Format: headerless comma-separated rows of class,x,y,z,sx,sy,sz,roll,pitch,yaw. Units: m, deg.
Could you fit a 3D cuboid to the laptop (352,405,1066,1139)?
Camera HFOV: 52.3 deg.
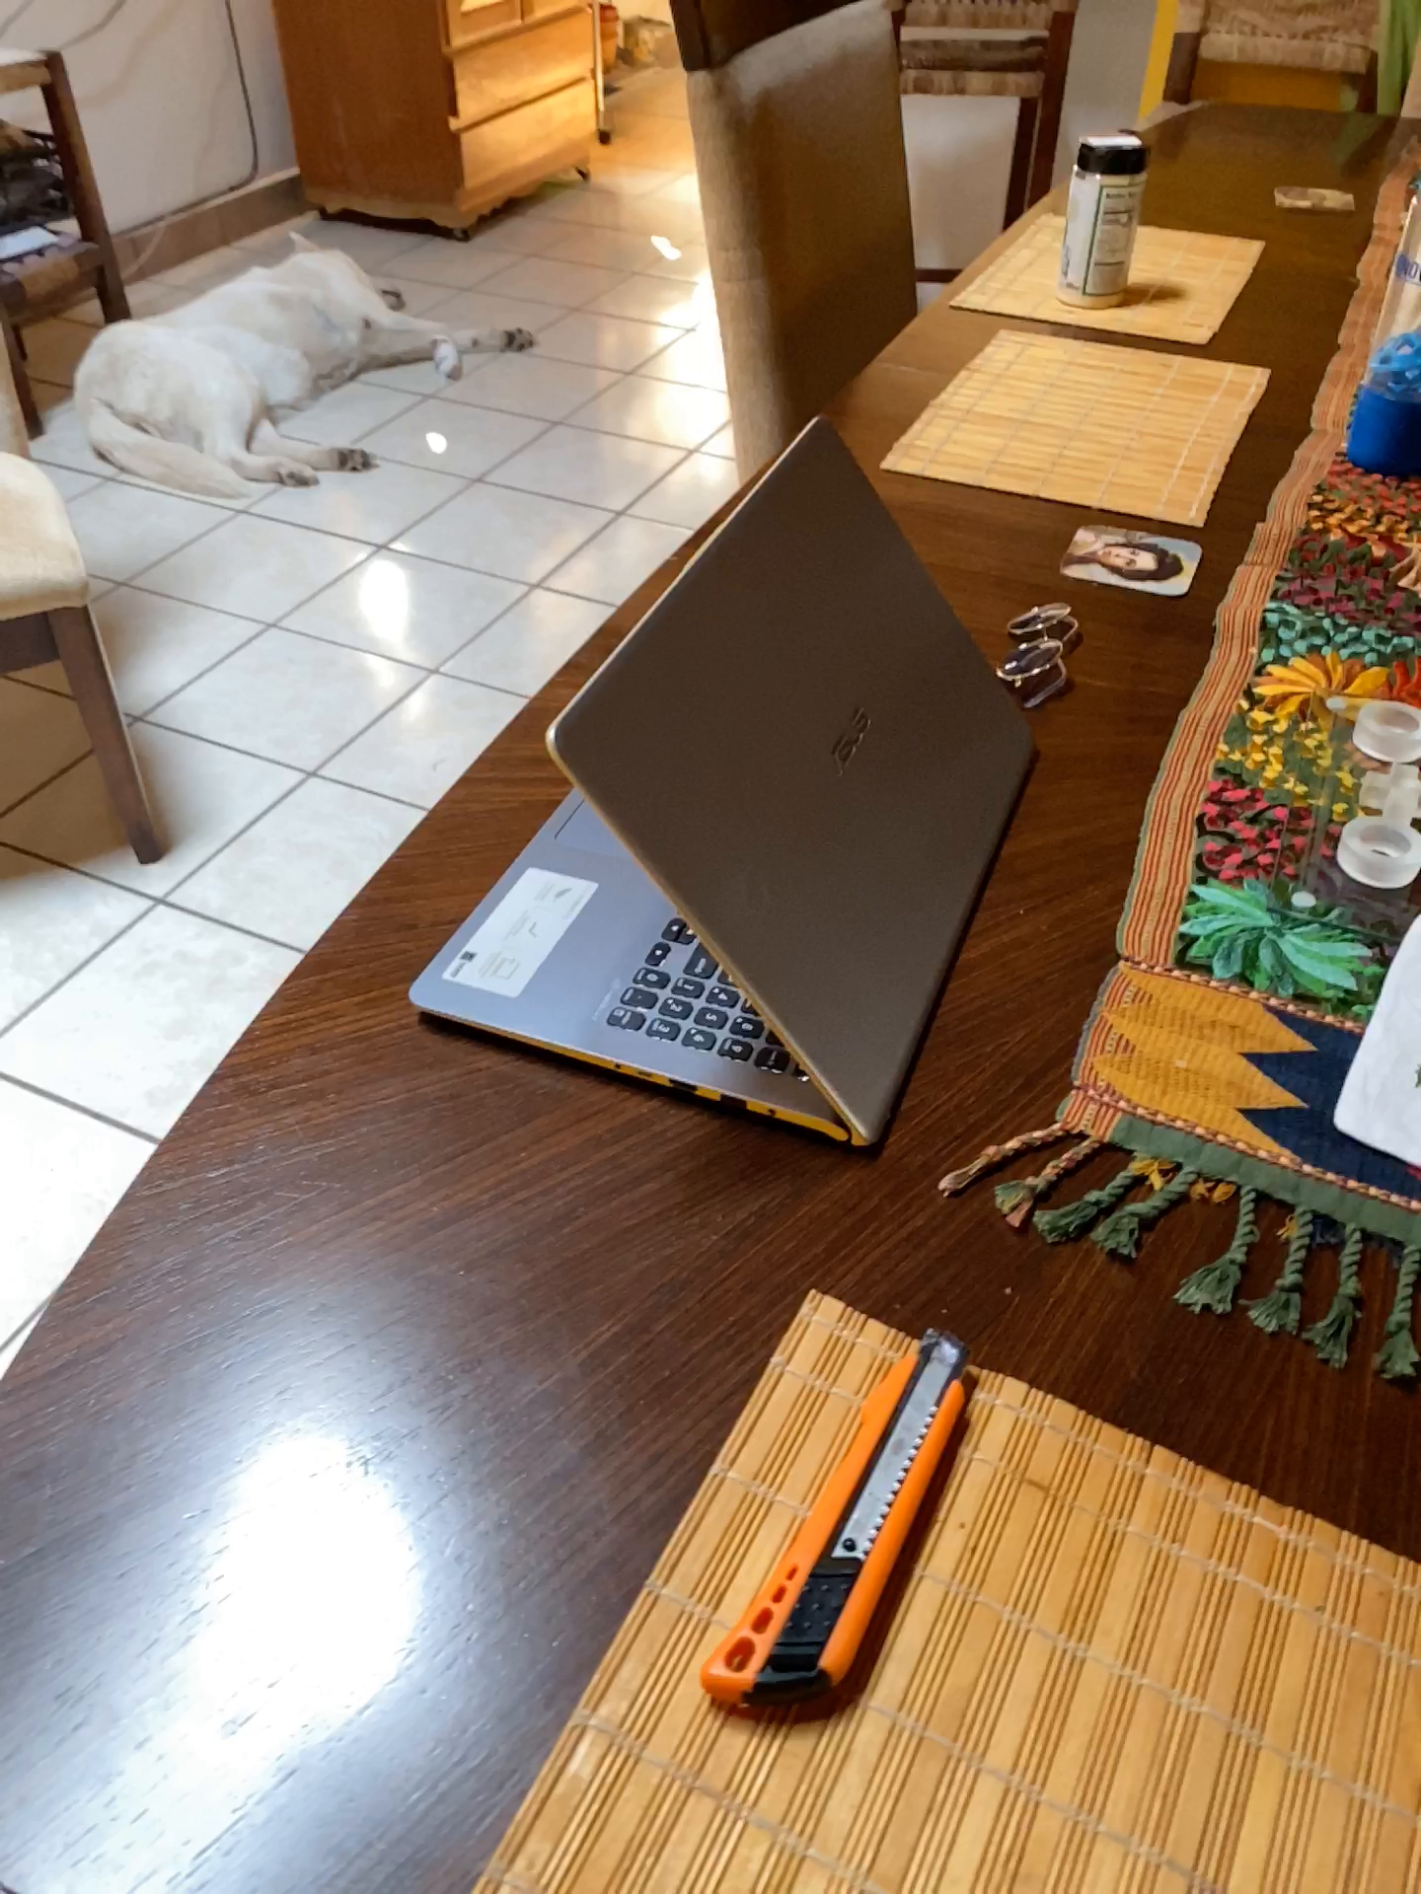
laptop,0.022,-0.124,0.800,0.250,0.181,0.378,15,43,15
